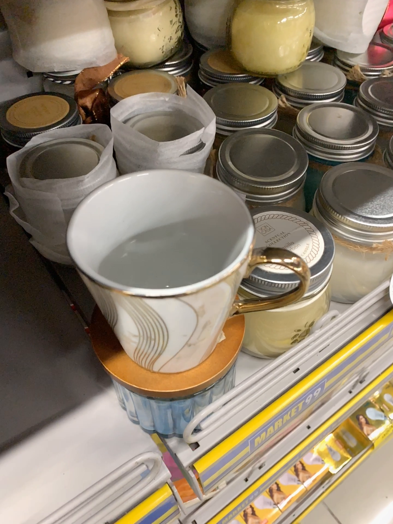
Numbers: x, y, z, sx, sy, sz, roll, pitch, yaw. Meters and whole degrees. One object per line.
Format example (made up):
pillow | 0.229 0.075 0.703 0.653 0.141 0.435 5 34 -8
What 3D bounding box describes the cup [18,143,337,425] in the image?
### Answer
cup | 0.000 0.008 0.160 0.090 0.070 0.070 9 50 8
